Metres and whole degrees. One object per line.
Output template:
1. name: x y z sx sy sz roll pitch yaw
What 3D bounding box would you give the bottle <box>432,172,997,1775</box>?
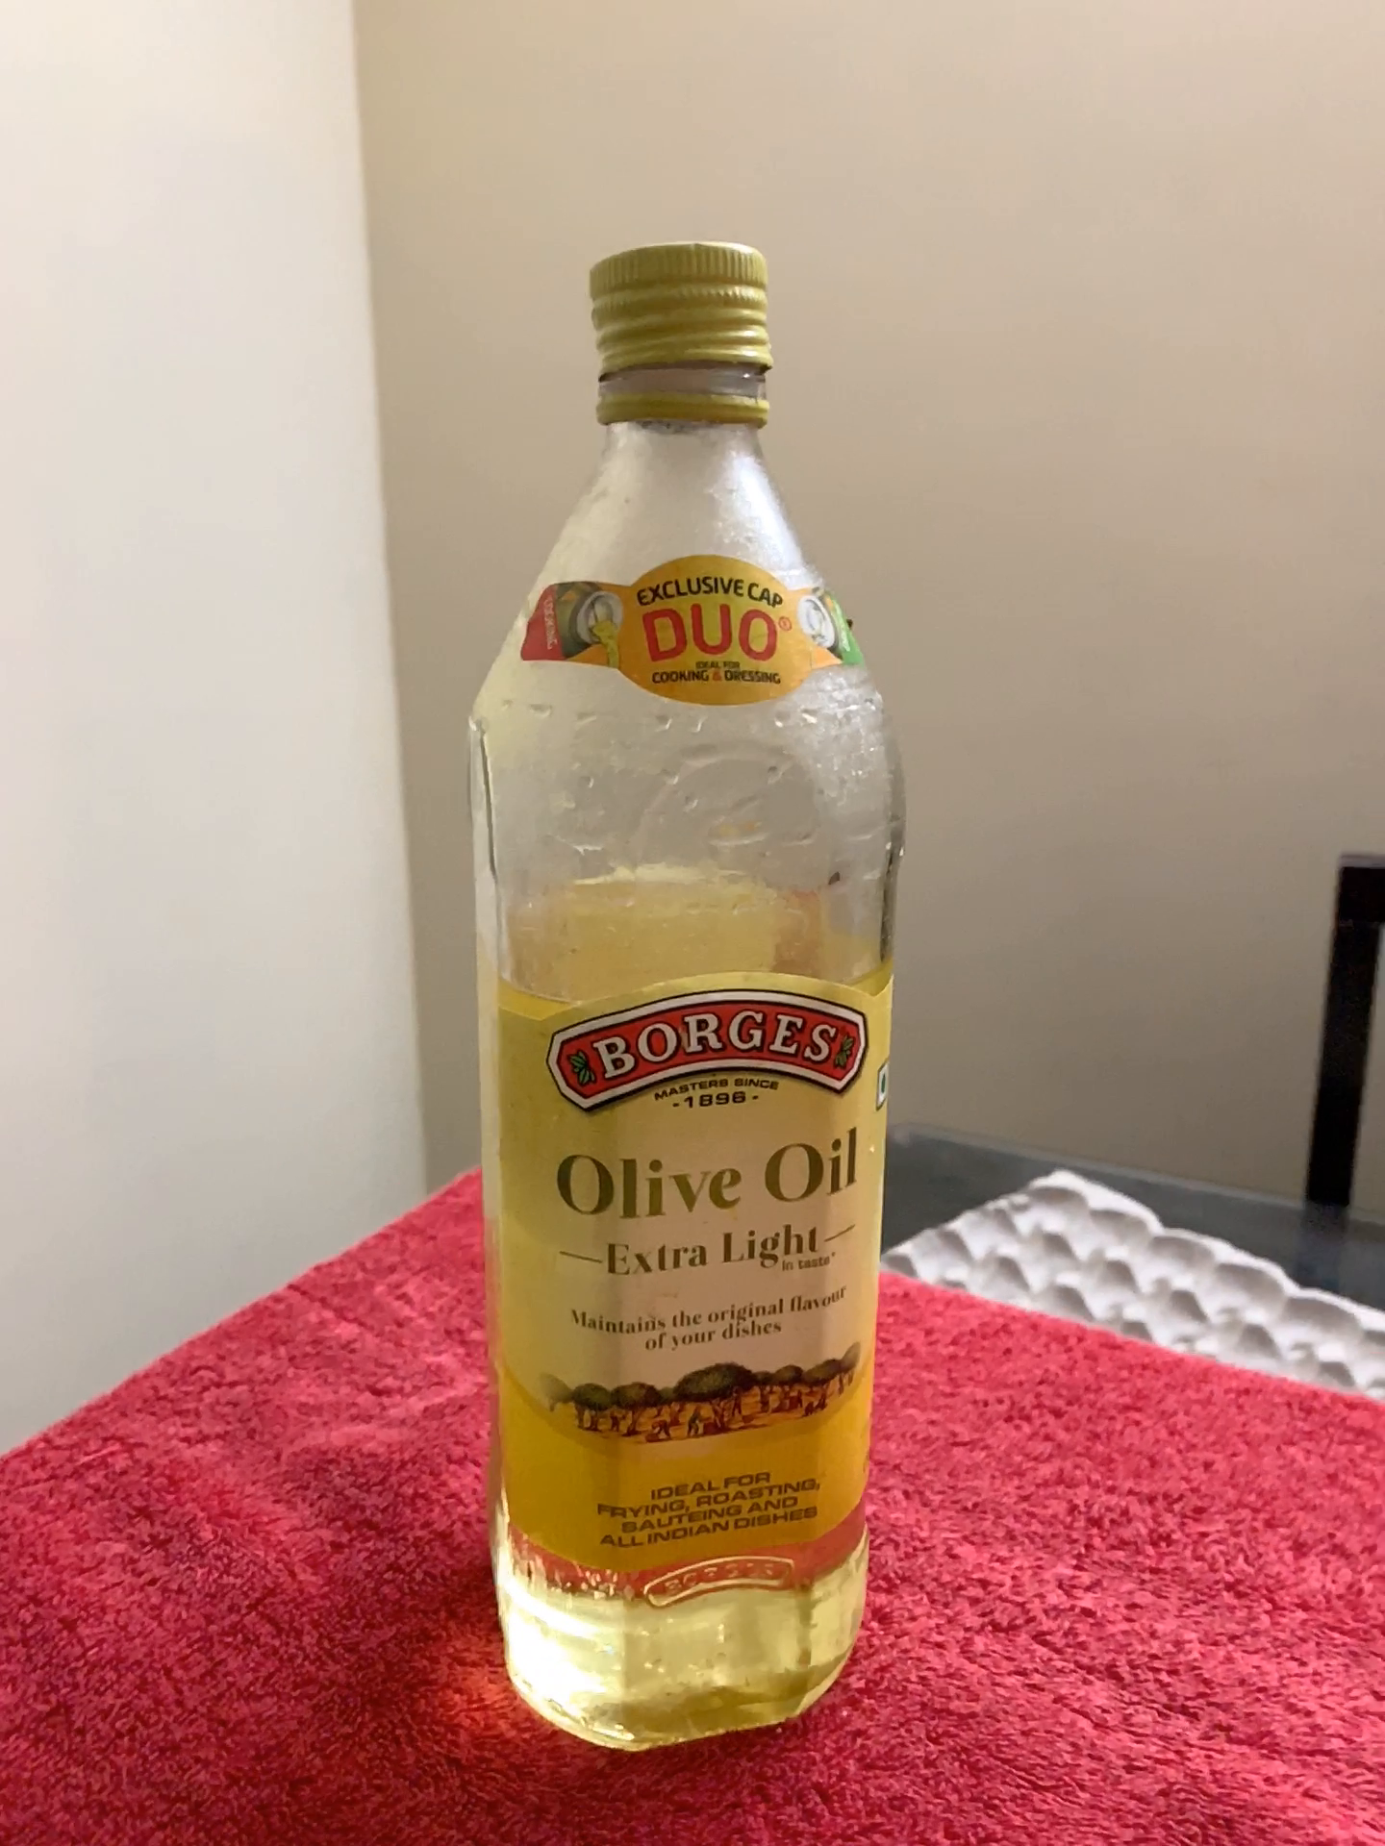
1. bottle: -0.001 0.016 0.271 0.080 0.269 0.070 -3 15 -10
